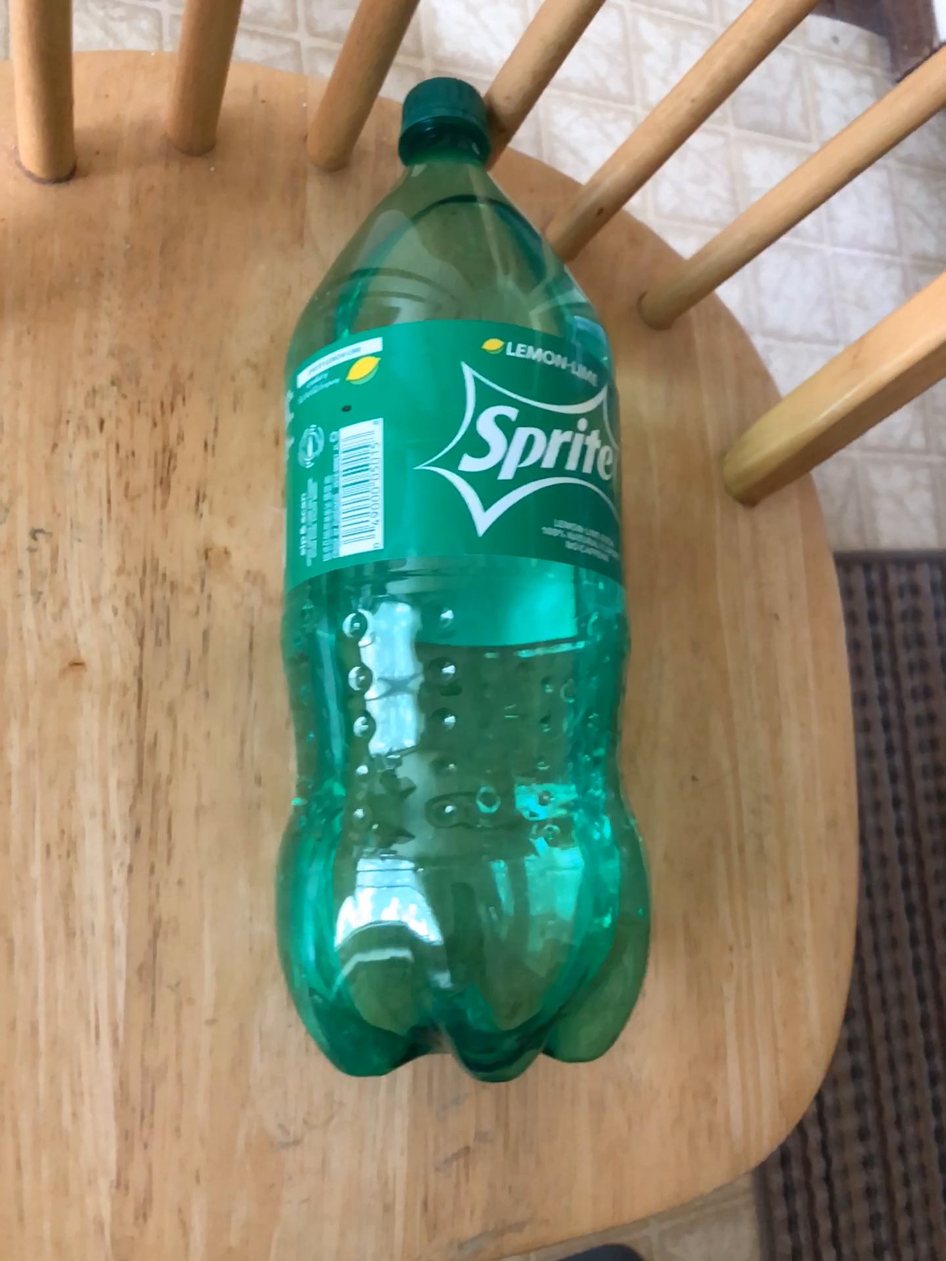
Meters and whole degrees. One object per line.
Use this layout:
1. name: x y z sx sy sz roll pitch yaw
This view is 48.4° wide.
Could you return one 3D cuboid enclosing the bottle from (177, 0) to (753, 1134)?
1. bottle: -0.010 -0.033 0.311 0.110 0.110 0.300 7 75 -35
